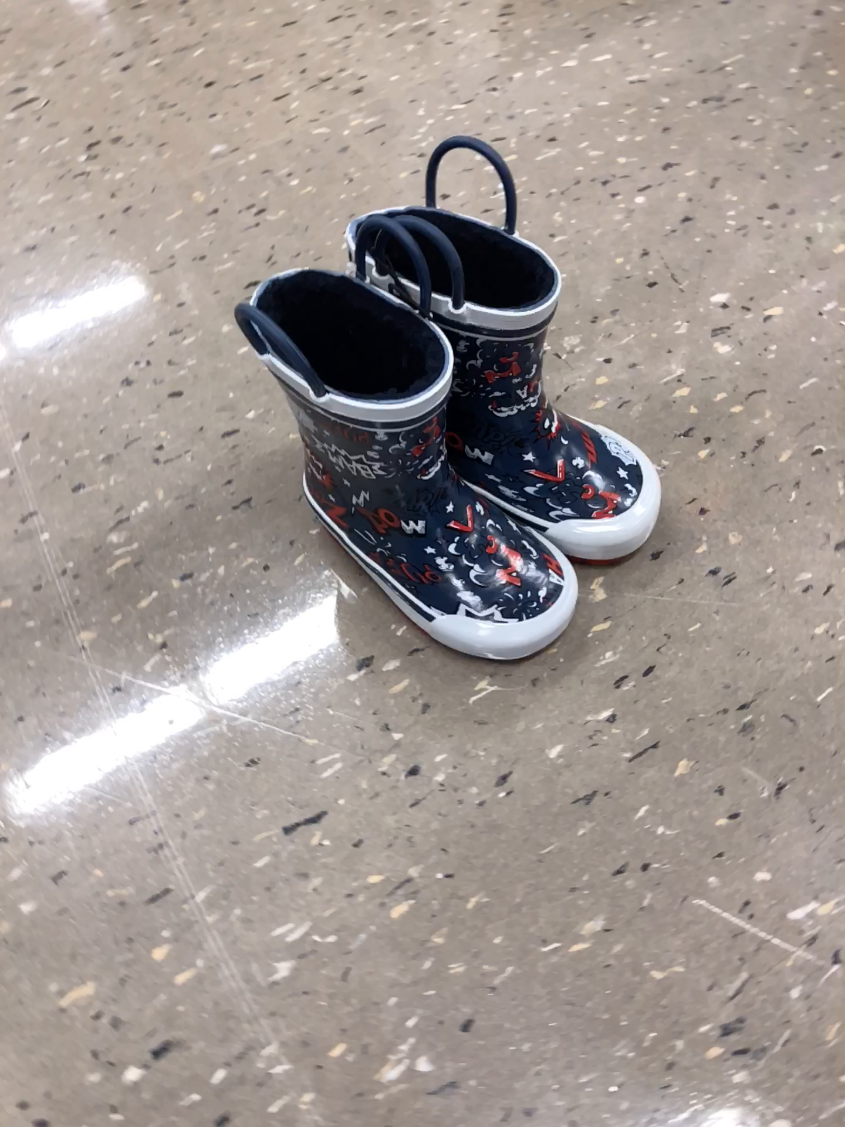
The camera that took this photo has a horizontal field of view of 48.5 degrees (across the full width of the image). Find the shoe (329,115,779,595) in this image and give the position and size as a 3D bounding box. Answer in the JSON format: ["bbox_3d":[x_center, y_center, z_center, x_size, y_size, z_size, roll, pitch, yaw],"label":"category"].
[{"bbox_3d":[0.053,-0.087,0.423,0.150,0.160,0.080,24,62,18],"label":"shoe"}]

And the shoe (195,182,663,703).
[{"bbox_3d":[0.002,-0.048,0.413,0.160,0.160,0.080,36,66,23],"label":"shoe"}]
